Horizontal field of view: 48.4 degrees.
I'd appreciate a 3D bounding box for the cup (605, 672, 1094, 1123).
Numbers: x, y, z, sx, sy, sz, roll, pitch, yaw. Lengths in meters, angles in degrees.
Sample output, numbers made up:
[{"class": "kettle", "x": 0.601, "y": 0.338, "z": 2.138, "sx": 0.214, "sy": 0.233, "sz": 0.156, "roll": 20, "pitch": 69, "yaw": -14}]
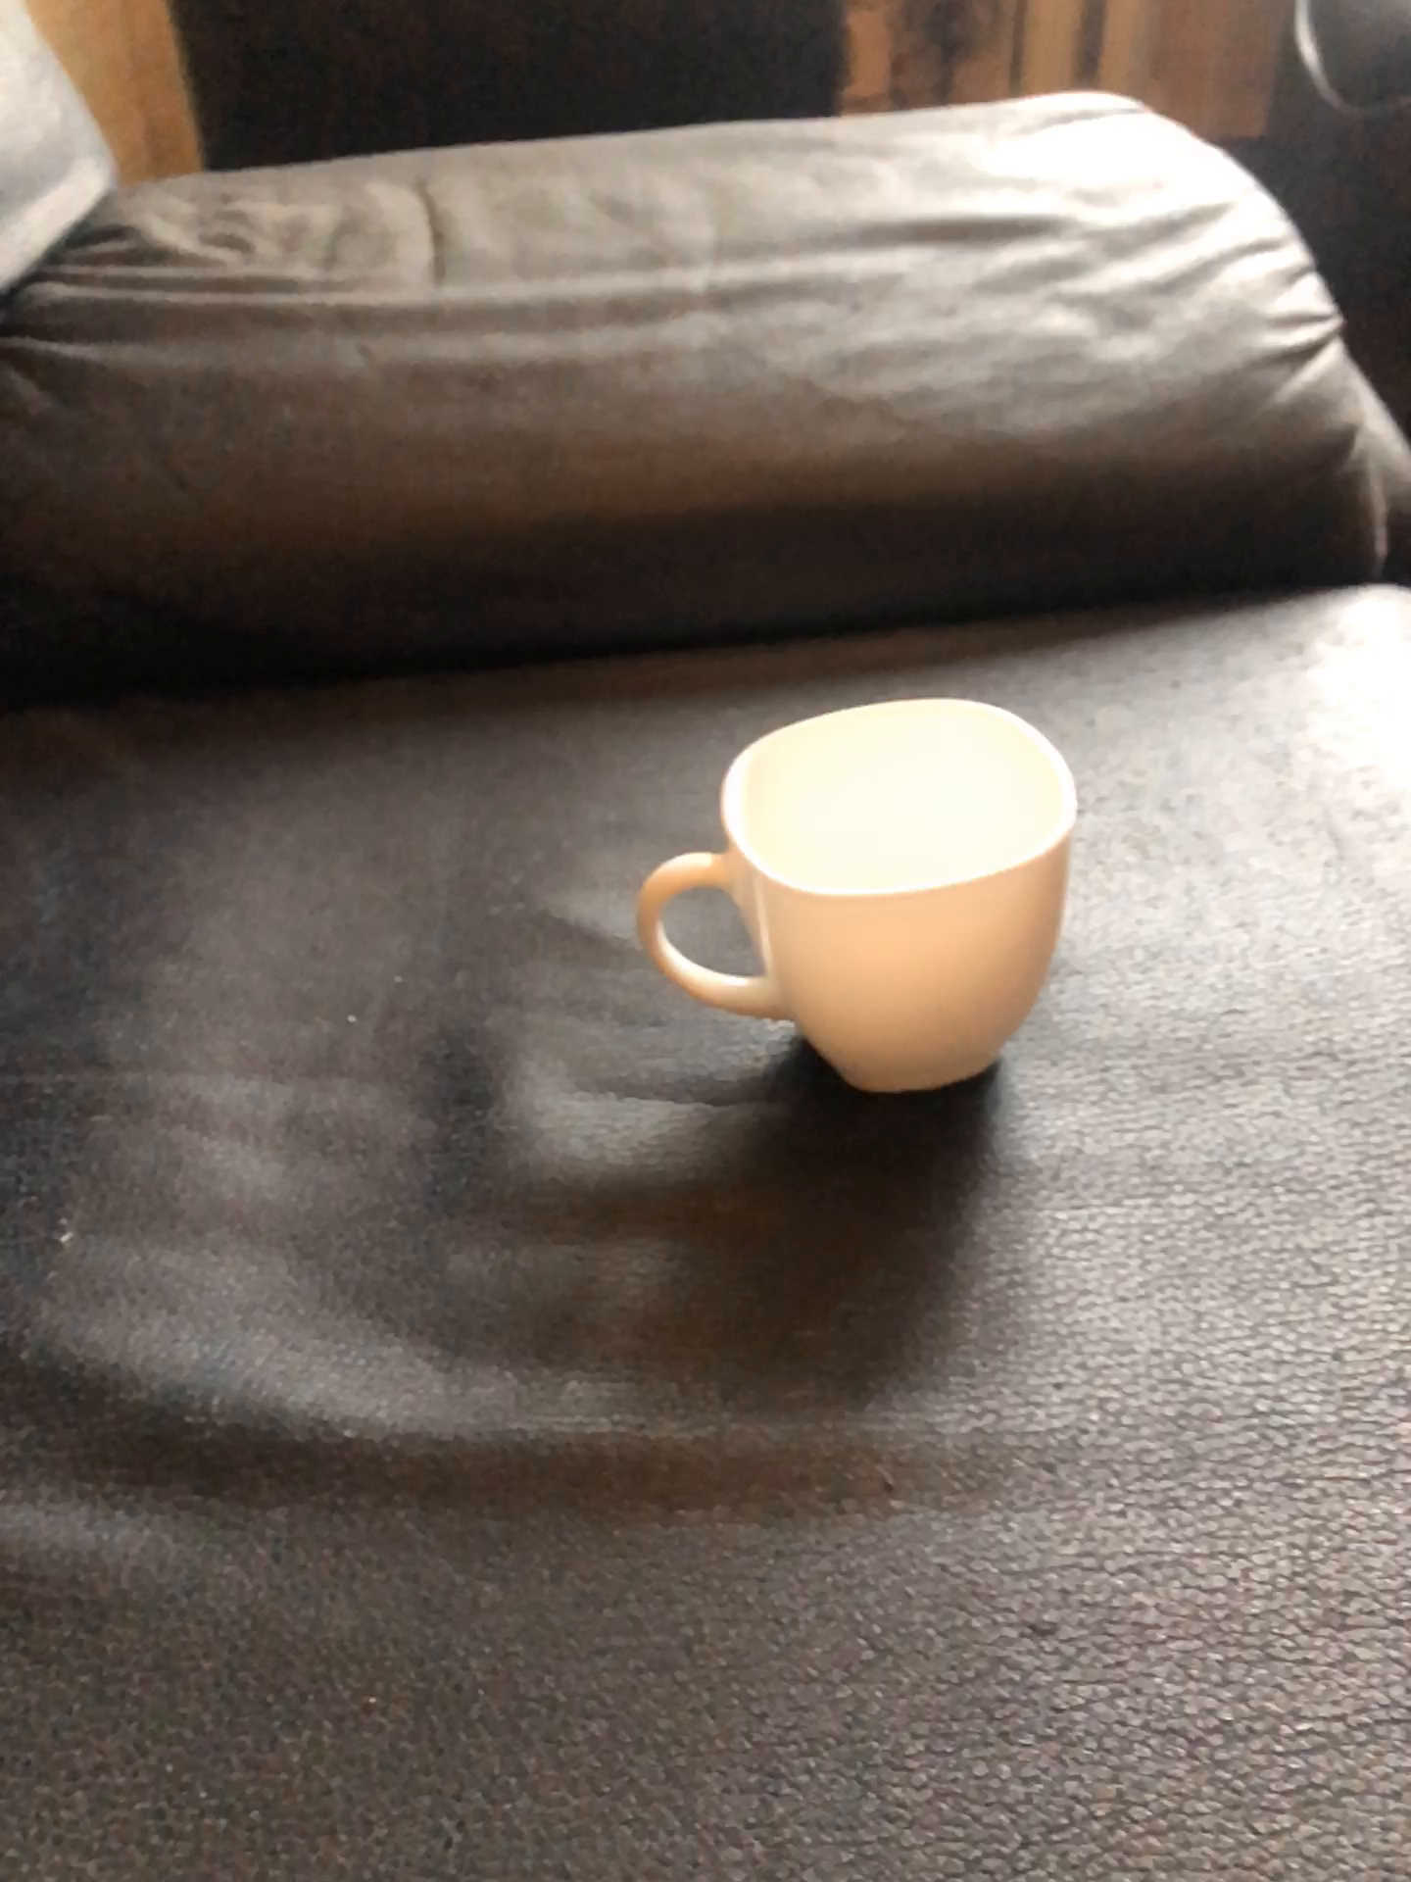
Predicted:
[{"class": "cup", "x": 0.030, "y": -0.012, "z": 0.374, "sx": 0.101, "sy": 0.063, "sz": 0.081, "roll": -5, "pitch": 38, "yaw": 1}]
